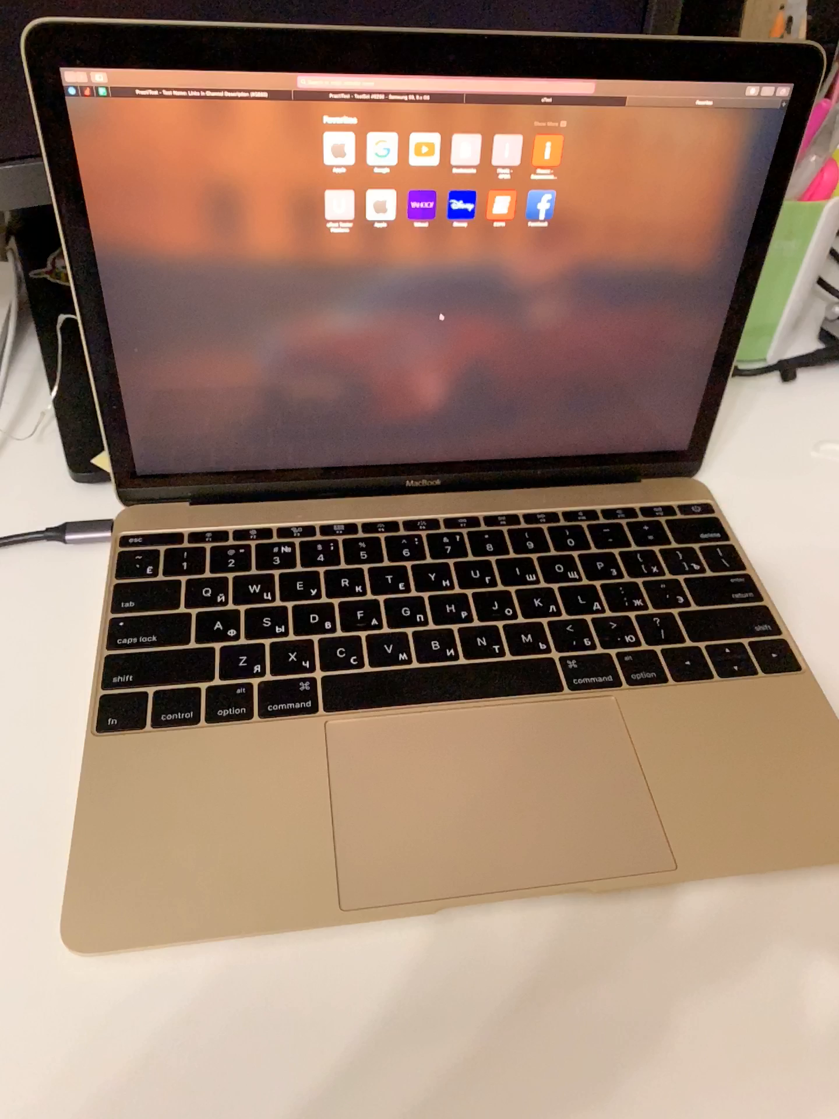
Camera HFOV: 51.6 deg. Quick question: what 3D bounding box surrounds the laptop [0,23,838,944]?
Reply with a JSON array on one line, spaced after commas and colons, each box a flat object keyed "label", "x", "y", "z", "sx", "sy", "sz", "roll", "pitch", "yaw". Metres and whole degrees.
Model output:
[{"label": "laptop", "x": 0.022, "y": -0.034, "z": 0.261, "sx": 0.247, "sy": 0.169, "sz": 0.198, "roll": -4, "pitch": 45, "yaw": -9}]
